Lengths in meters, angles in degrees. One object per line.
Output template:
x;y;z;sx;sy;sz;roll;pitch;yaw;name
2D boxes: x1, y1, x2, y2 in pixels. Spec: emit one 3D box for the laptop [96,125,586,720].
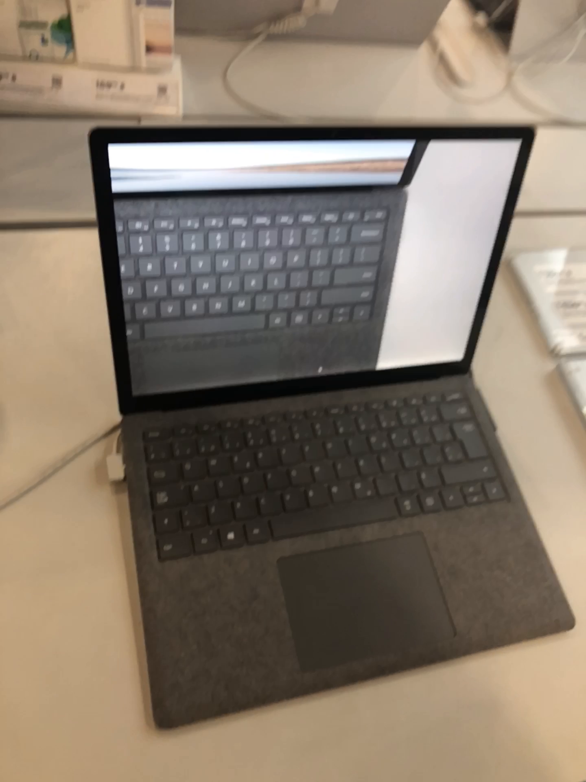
0.046;0.008;0.430;0.297;0.197;0.295;-7;60;-16;laptop
